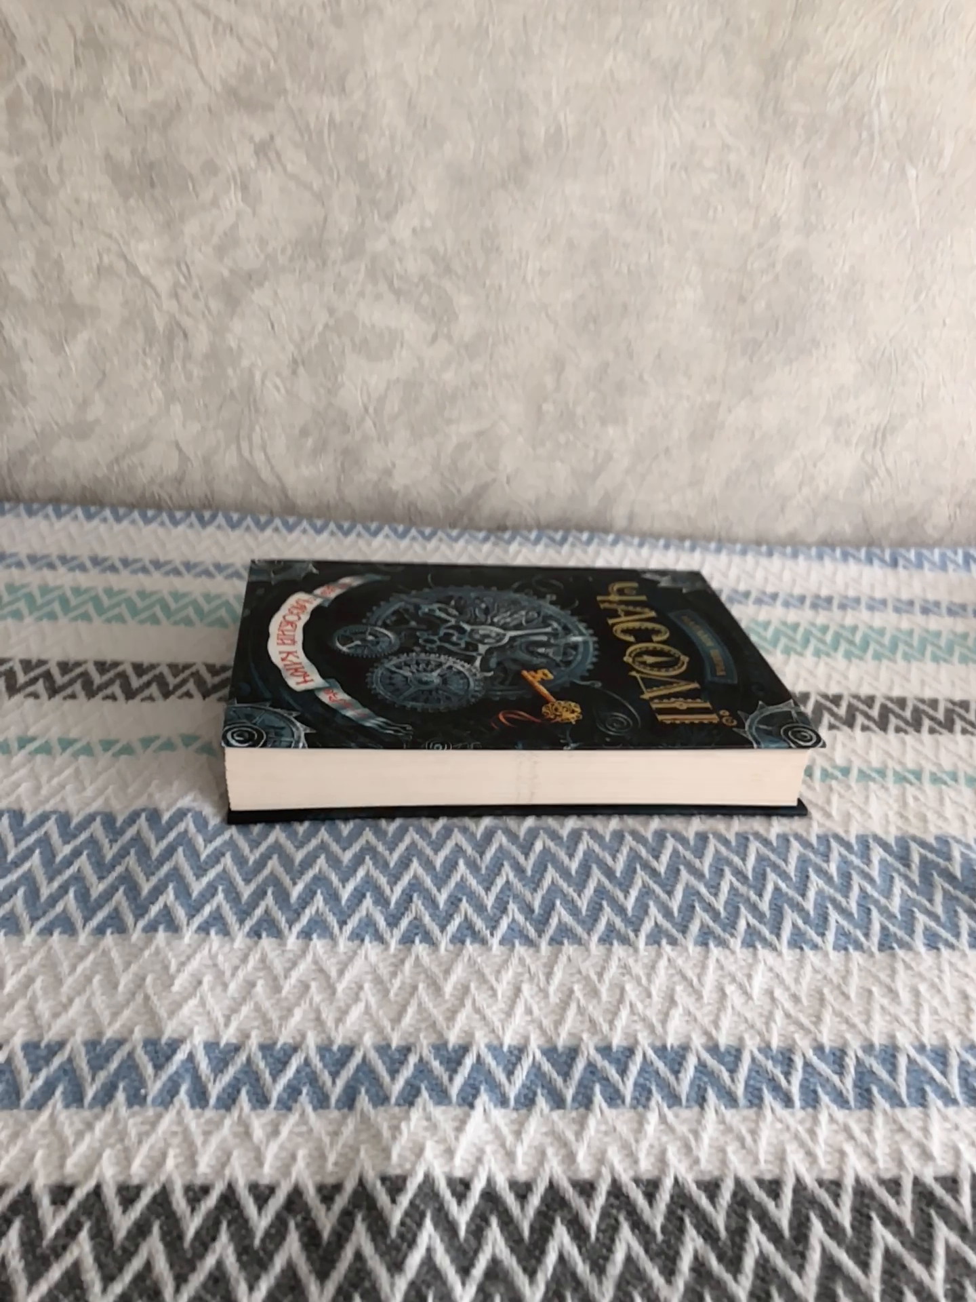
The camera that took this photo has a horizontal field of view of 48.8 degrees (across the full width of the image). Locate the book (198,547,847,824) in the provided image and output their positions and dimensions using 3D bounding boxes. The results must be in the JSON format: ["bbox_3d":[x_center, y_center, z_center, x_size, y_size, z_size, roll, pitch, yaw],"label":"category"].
[{"bbox_3d":[0.005,0.008,0.472,0.238,0.032,0.179,1,28,-9],"label":"book"}]
